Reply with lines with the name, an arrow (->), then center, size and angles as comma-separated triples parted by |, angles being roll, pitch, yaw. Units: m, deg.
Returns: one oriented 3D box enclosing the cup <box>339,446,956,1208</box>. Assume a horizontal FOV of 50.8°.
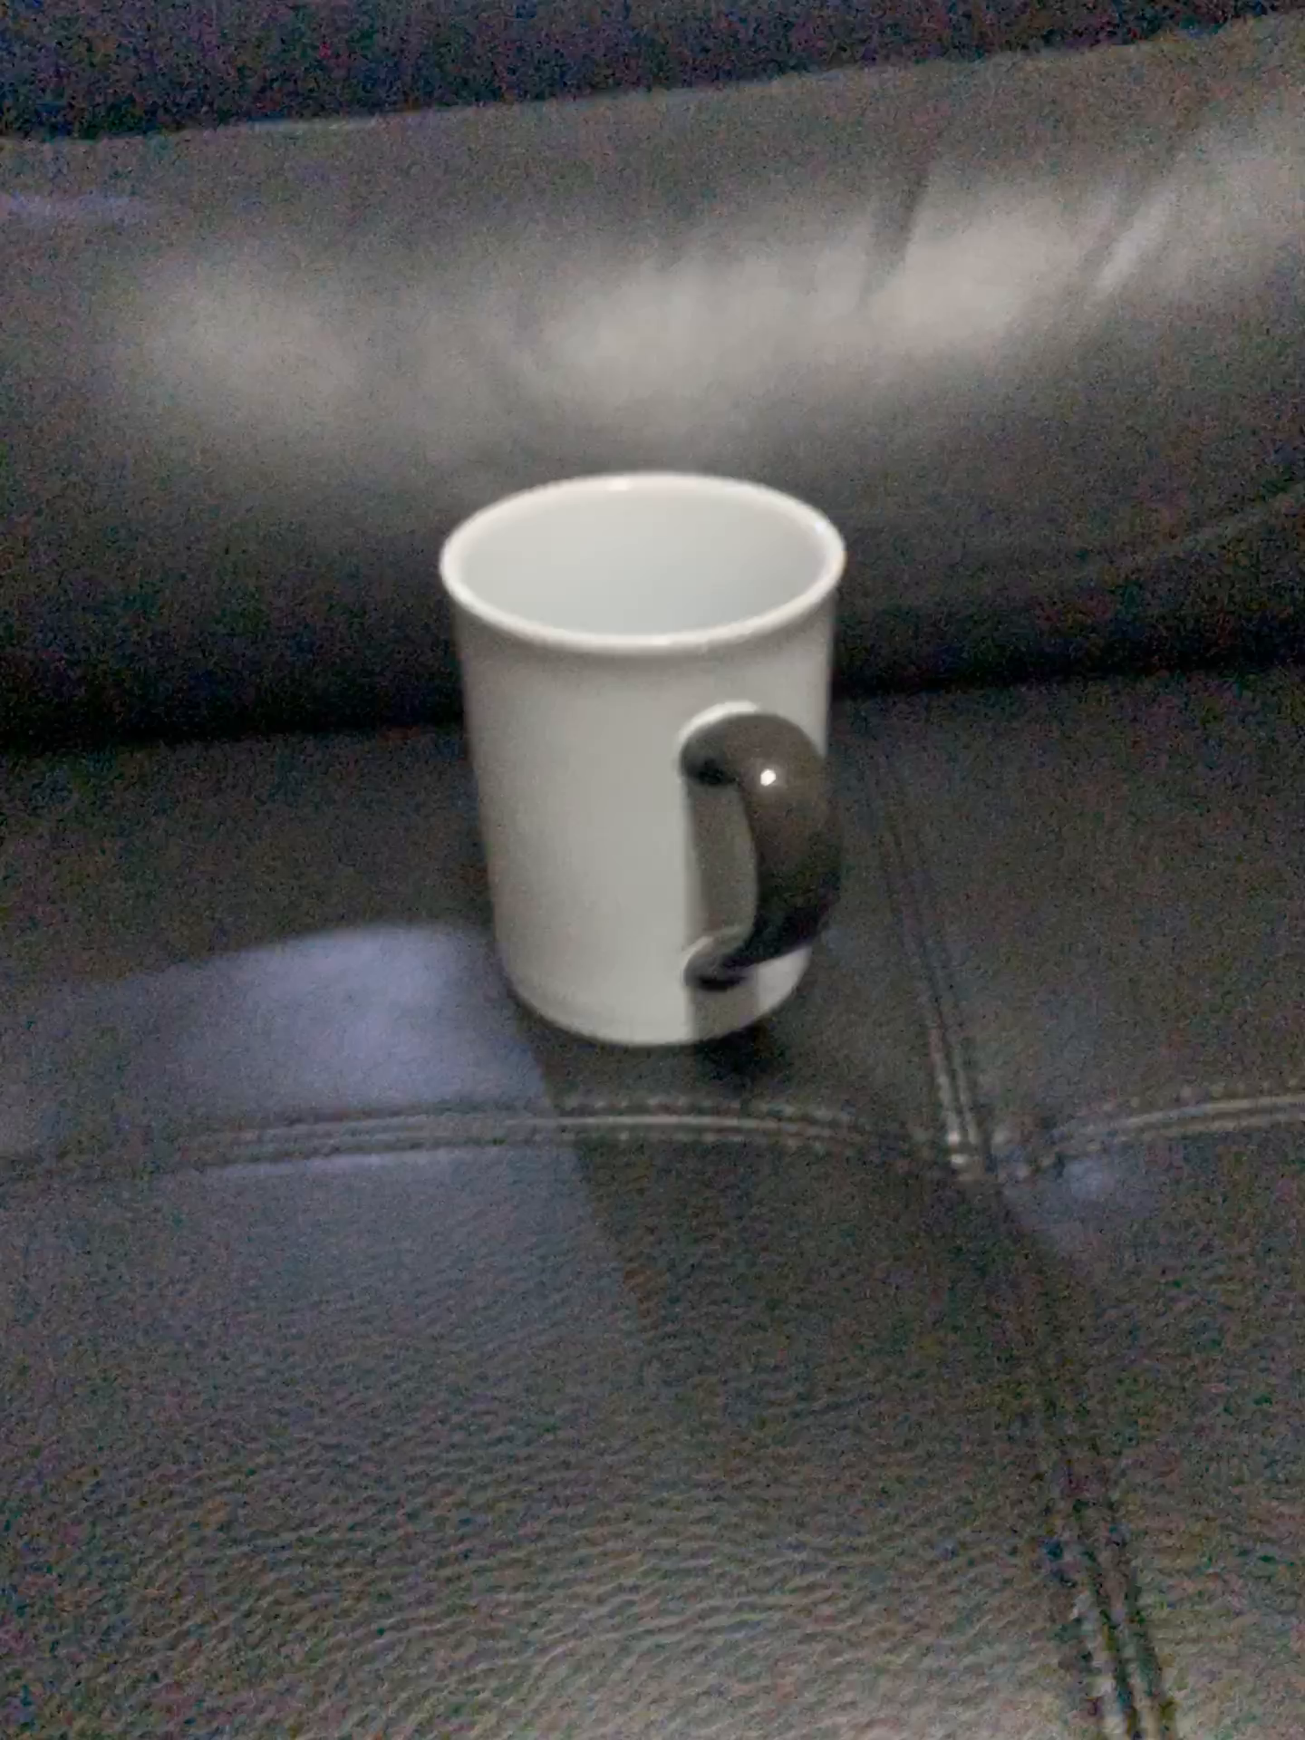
cup -> -0.007, -0.019, 0.320 | 0.092, 0.115, 0.124 | -14, 34, -16
